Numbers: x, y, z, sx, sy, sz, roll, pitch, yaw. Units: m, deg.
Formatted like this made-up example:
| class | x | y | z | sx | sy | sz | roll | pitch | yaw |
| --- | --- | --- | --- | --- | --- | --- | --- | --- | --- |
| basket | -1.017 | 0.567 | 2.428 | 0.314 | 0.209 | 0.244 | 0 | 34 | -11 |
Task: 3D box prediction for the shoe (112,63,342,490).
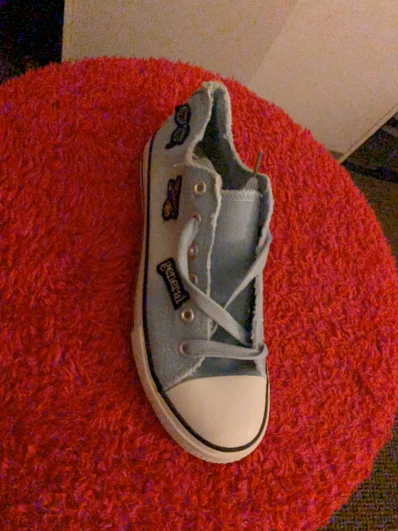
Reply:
| class | x | y | z | sx | sy | sz | roll | pitch | yaw |
| --- | --- | --- | --- | --- | --- | --- | --- | --- | --- |
| shoe | 0.000 | -0.001 | 0.279 | 0.097 | 0.087 | 0.250 | 2 | 67 | -20 |
